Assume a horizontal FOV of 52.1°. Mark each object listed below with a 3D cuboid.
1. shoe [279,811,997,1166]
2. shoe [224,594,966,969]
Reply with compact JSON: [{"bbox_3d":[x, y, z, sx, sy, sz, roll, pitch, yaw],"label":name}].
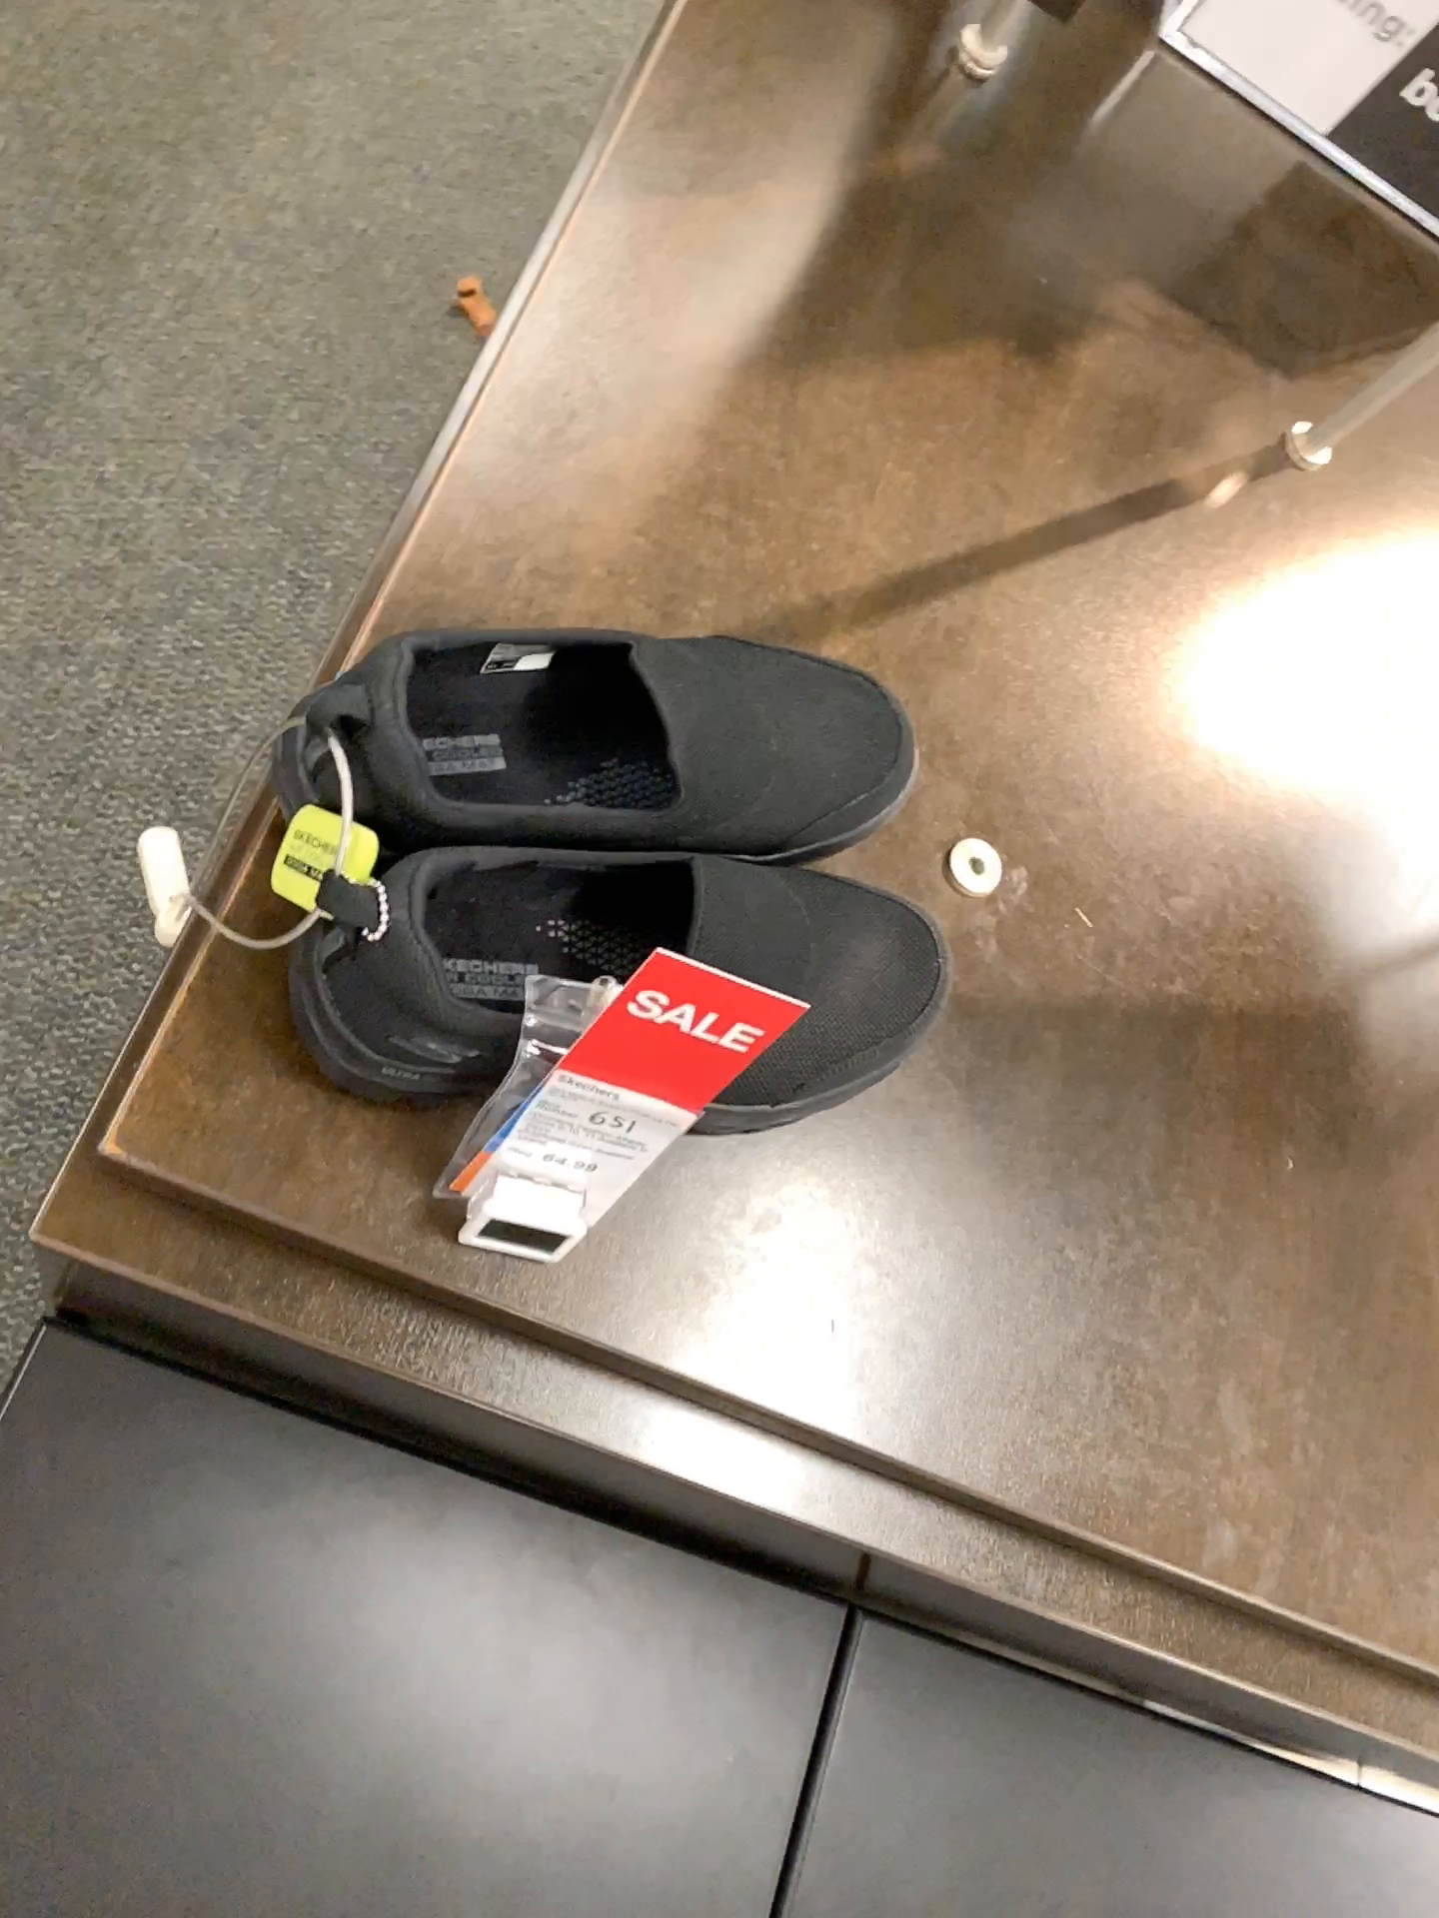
[{"bbox_3d":[-0.033,0.014,0.537,0.230,0.110,0.094,0,75,-24],"label":"shoe"},{"bbox_3d":[-0.048,-0.069,0.557,0.245,0.110,0.094,-7,78,-26],"label":"shoe"}]
